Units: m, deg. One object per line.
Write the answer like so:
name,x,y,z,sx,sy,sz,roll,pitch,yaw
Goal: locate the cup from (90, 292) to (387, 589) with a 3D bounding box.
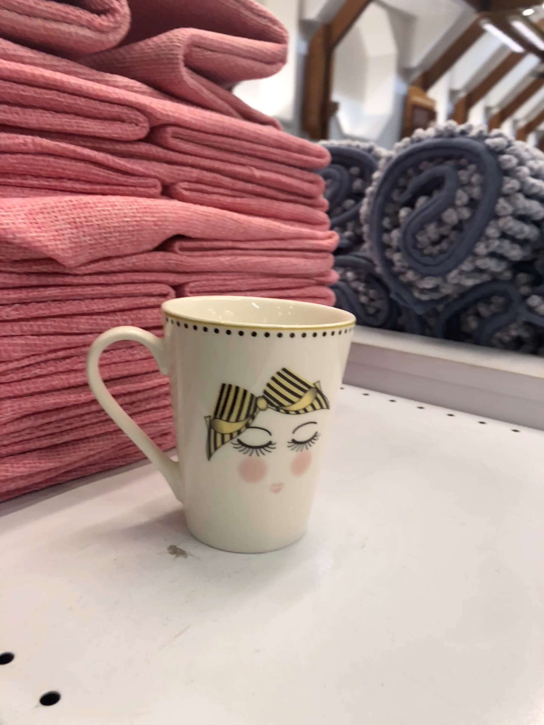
cup,-0.023,0.024,0.275,0.110,0.100,0.090,-2,14,-18
